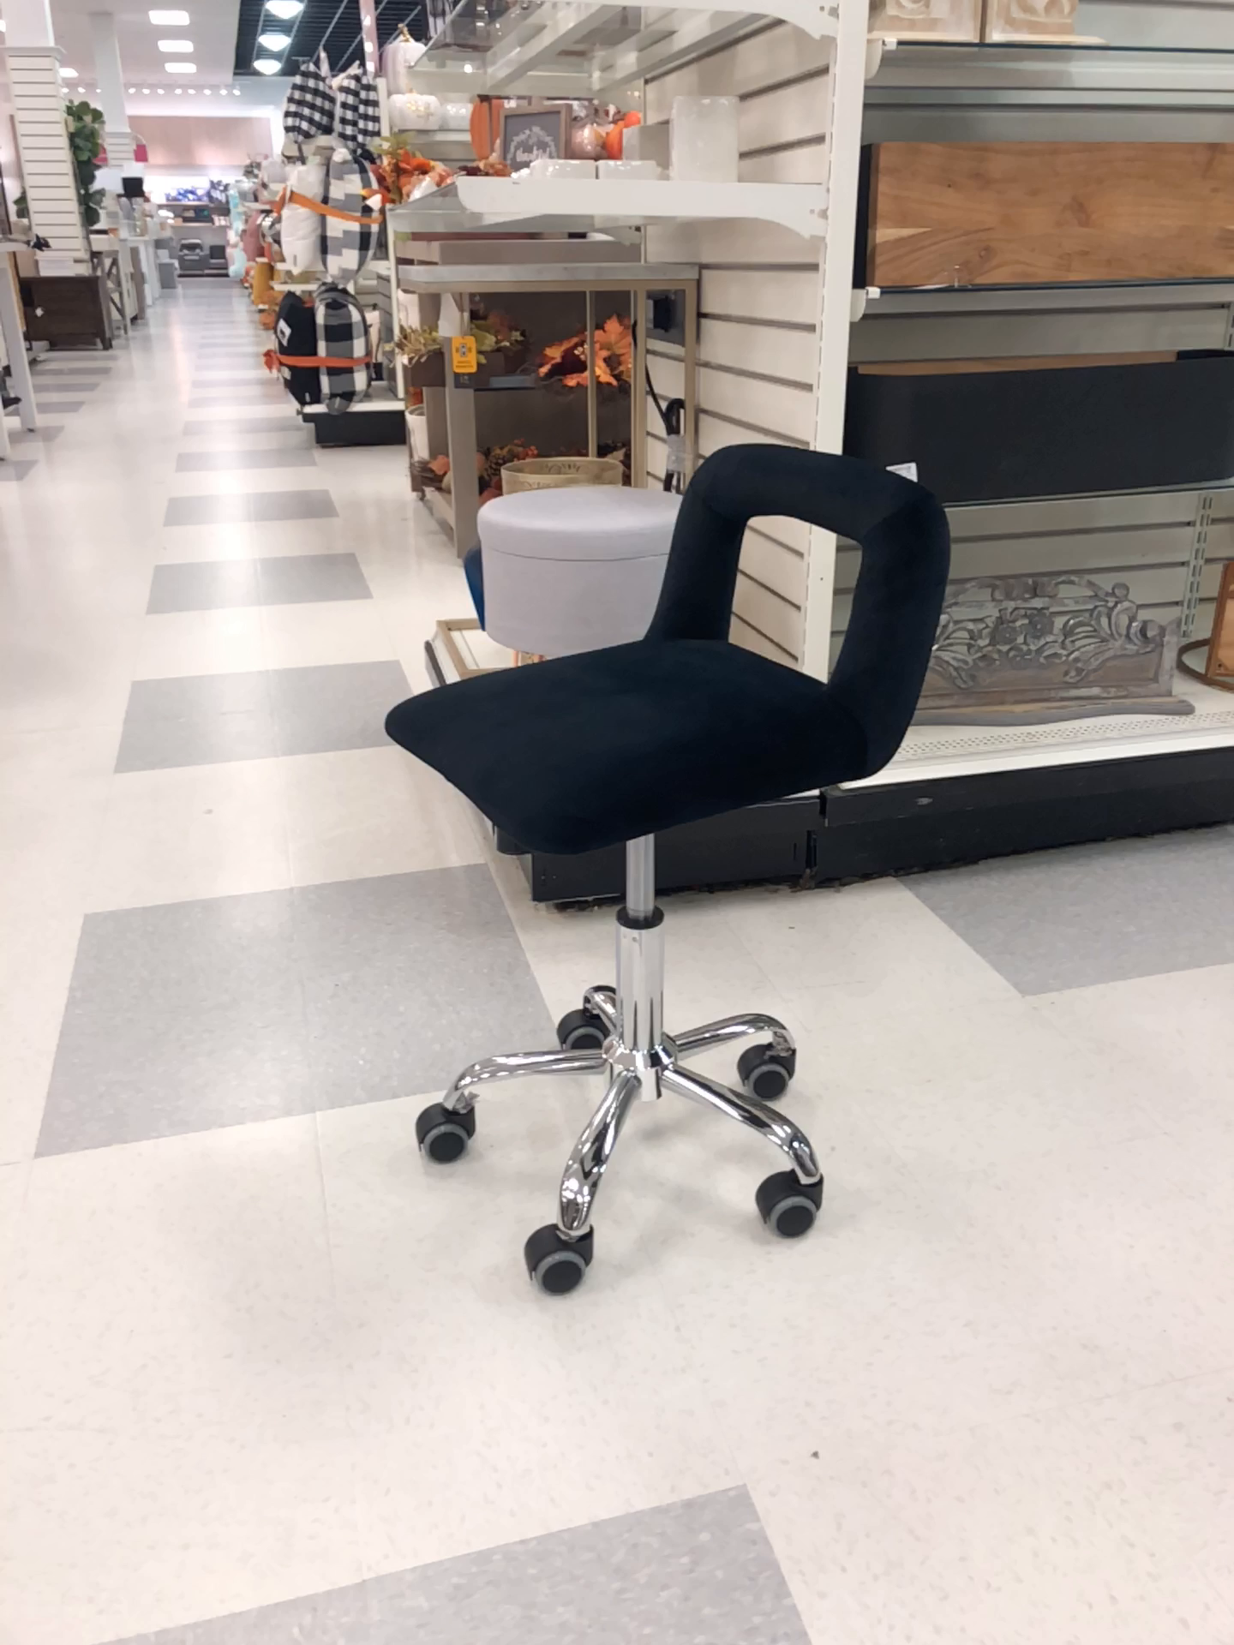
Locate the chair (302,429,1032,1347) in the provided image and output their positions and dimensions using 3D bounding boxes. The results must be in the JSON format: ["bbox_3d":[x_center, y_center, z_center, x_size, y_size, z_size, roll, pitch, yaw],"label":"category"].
[{"bbox_3d":[0.029,0.010,1.344,0.485,0.694,0.463,-13,26,-27],"label":"chair"}]
